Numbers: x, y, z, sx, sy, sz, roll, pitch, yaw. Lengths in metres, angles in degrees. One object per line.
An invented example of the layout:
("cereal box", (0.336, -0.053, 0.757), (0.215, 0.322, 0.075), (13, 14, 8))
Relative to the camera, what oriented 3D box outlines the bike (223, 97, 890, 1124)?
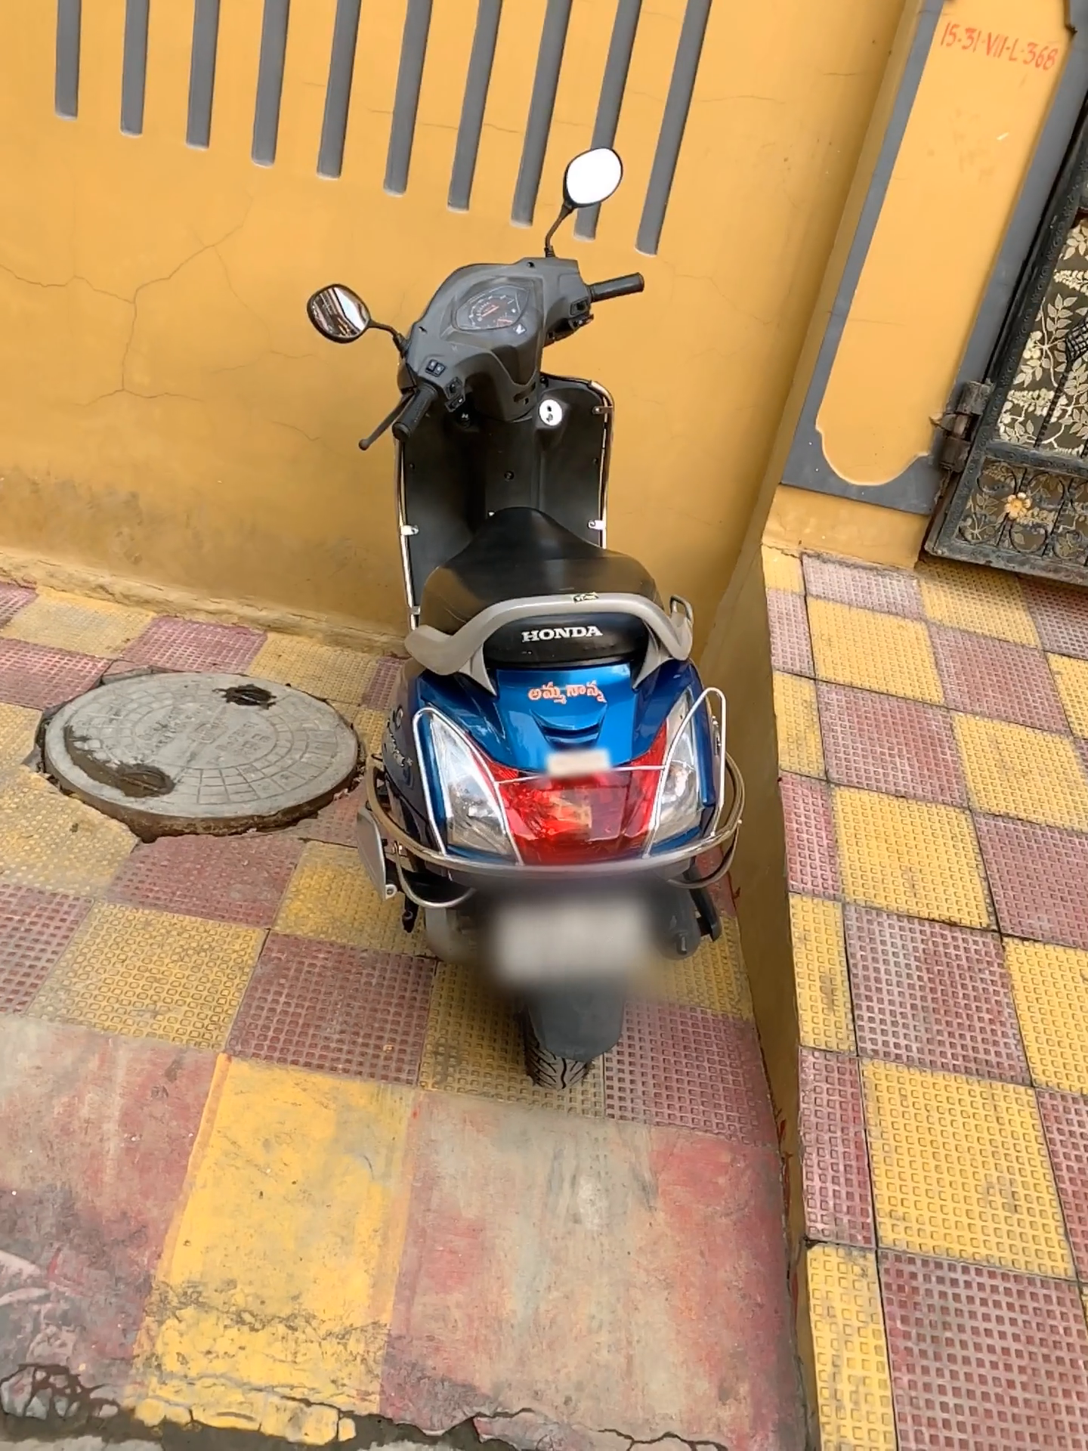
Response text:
("bike", (-0.179, -0.368, 1.987), (0.596, 1.097, 1.534), (6, 29, -16))
